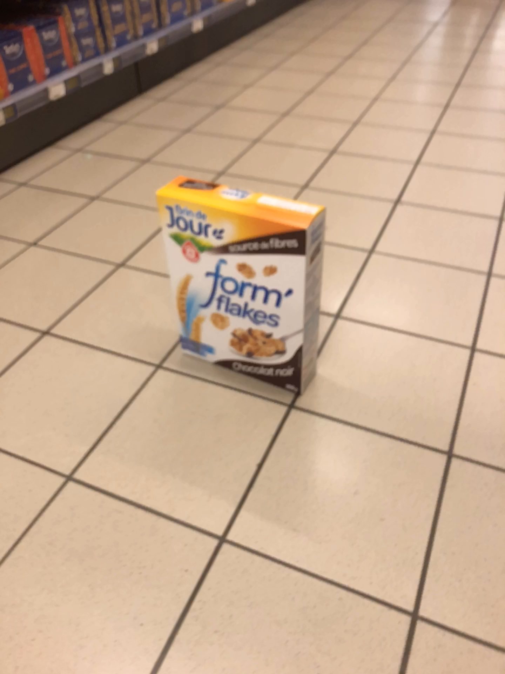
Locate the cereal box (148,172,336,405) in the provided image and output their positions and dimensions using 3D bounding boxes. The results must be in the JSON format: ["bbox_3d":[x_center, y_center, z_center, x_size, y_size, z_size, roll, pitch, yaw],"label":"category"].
[{"bbox_3d":[-0.010,-0.057,0.703,0.200,0.248,0.071,17,43,22],"label":"cereal box"}]
